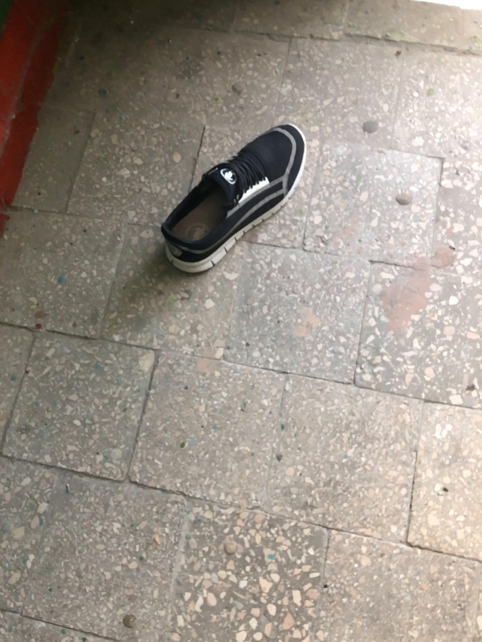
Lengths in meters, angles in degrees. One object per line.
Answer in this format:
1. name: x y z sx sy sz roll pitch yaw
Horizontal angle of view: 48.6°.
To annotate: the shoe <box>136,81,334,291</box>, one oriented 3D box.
1. shoe: -0.002 -0.191 0.778 0.100 0.120 0.280 44 83 13
